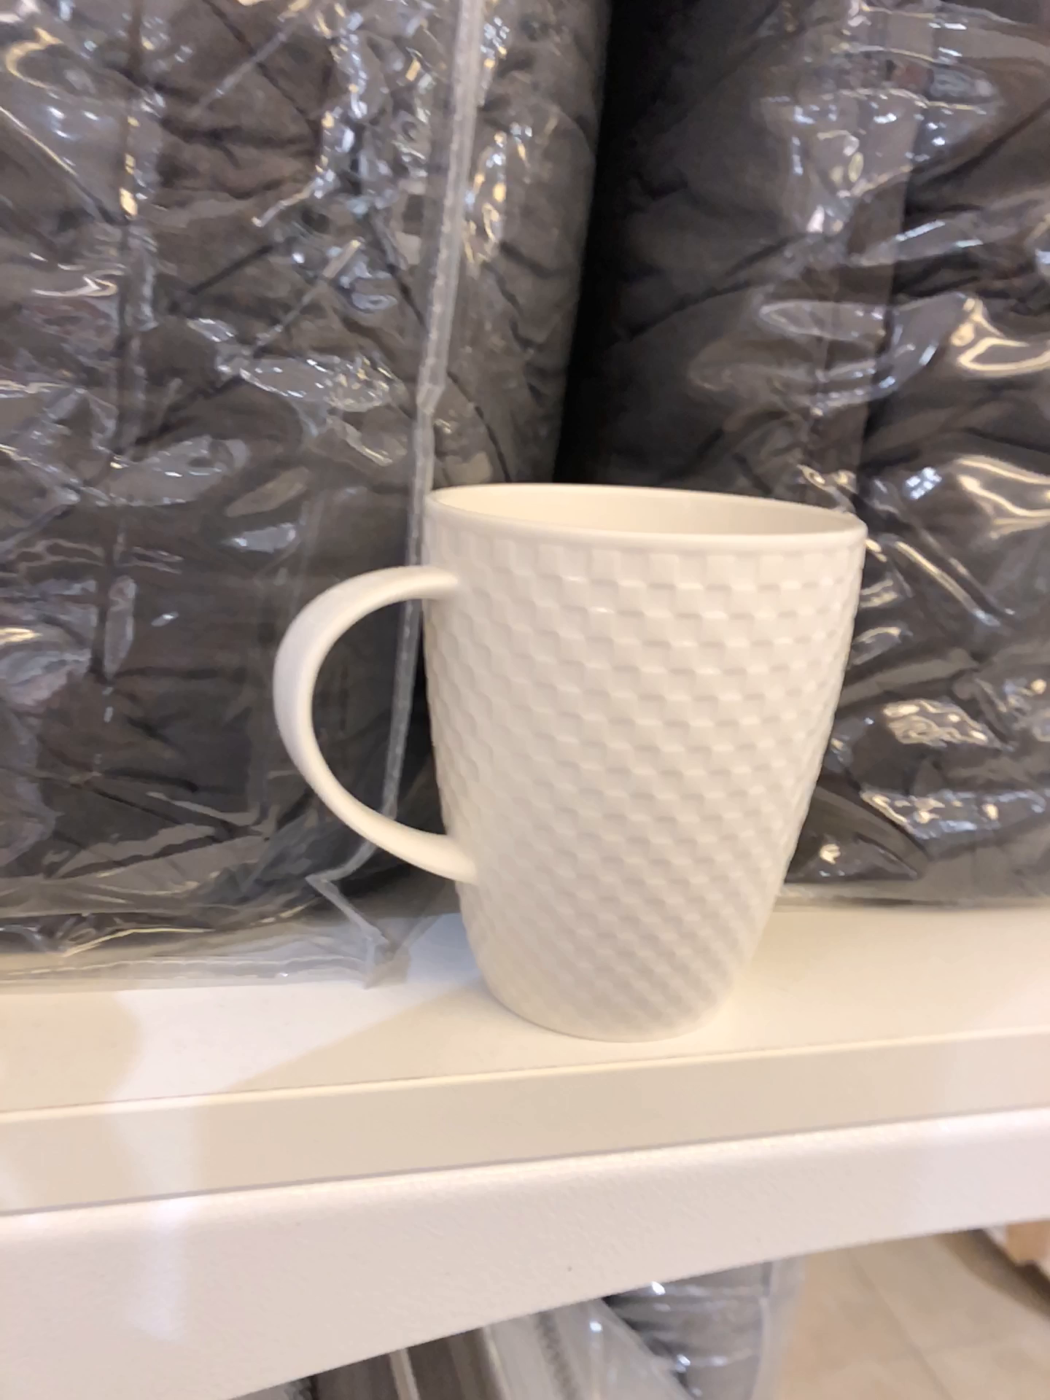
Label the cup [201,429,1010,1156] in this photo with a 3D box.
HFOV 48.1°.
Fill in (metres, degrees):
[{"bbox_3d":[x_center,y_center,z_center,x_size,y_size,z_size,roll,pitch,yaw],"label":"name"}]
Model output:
[{"bbox_3d":[0.010,0.003,0.210,0.110,0.090,0.080,-5,18,-33],"label":"cup"}]
